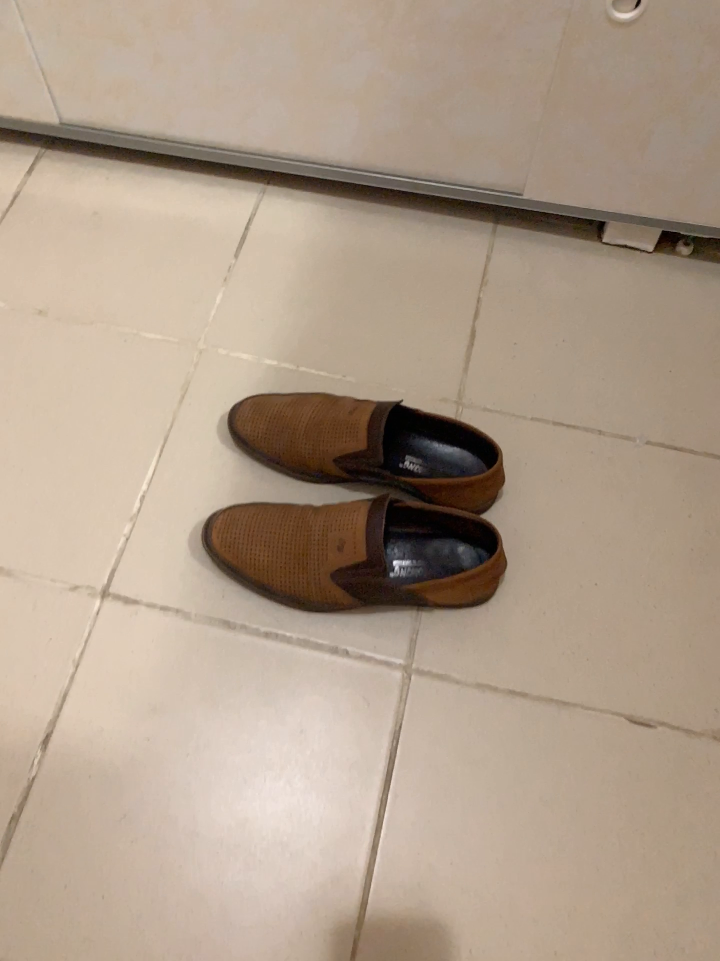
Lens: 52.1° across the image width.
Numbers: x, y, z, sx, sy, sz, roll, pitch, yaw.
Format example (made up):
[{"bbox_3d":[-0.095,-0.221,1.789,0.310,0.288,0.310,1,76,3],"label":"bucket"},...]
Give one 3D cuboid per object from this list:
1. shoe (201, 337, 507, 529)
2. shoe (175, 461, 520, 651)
[{"bbox_3d":[-0.004,-0.047,0.729,0.270,0.080,0.110,13,64,4],"label":"shoe"},{"bbox_3d":[-0.008,0.072,0.688,0.290,0.090,0.110,8,64,2],"label":"shoe"}]
